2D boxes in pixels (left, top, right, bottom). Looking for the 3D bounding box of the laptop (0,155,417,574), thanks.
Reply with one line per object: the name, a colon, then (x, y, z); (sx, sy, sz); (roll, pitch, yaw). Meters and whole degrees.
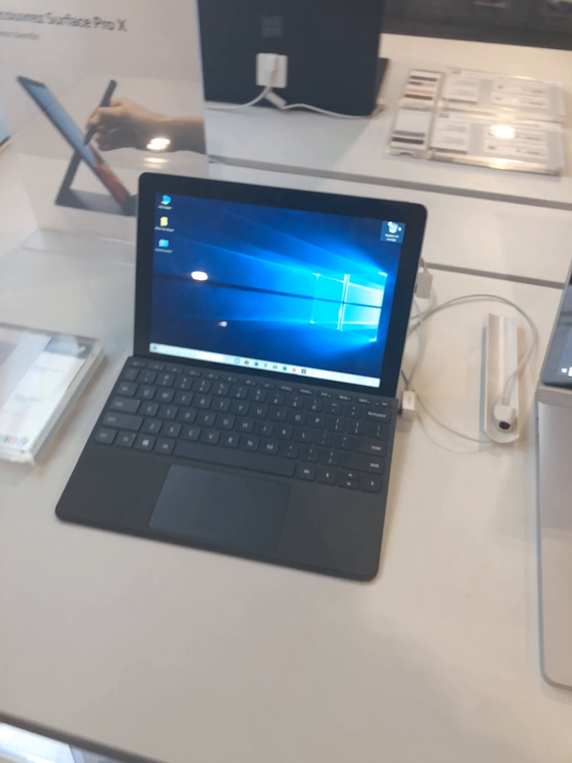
laptop: (-0.034, -0.026, 0.492); (0.236, 0.140, 0.251); (9, 50, 6)
